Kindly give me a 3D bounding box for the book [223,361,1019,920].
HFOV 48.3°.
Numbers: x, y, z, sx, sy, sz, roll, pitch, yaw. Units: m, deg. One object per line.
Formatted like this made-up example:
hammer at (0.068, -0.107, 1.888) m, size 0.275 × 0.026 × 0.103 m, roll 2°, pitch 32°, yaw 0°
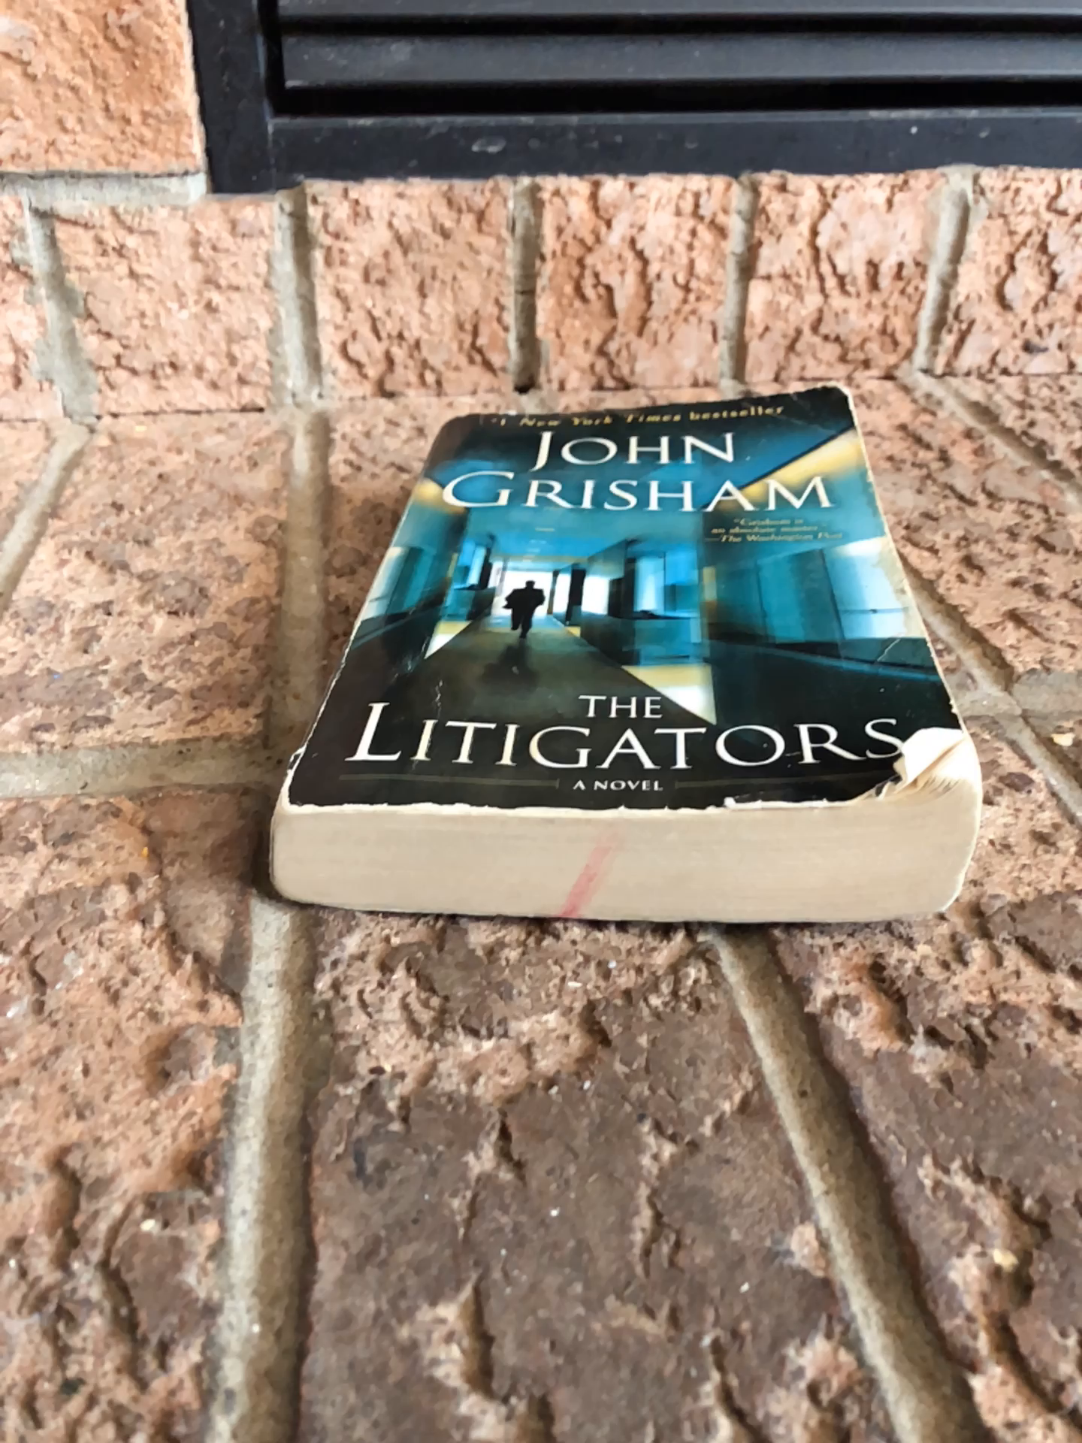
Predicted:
book at (0.023, -0.035, 0.295) m, size 0.135 × 0.033 × 0.200 m, roll 0°, pitch 35°, yaw 8°
